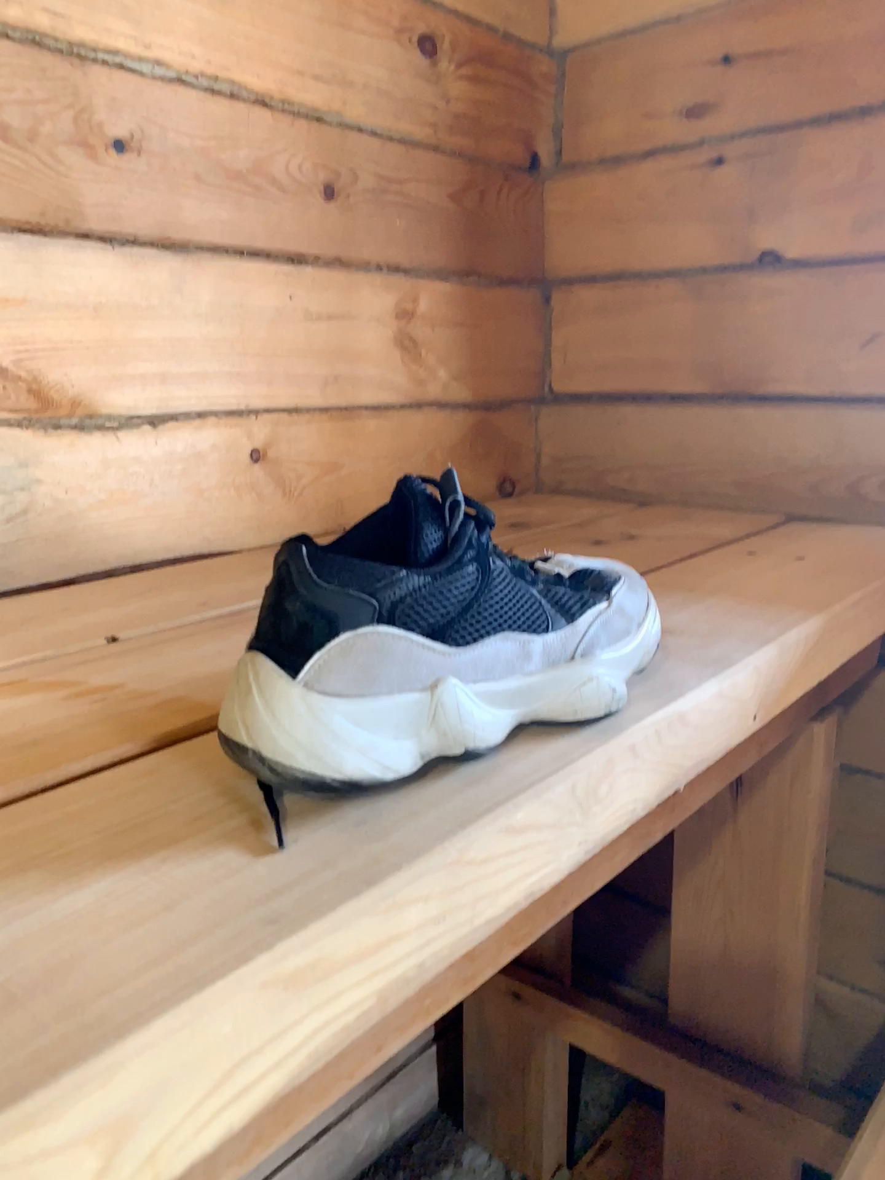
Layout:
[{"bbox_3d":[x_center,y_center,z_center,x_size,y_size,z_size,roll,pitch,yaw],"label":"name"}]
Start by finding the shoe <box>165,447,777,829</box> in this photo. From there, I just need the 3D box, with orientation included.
[{"bbox_3d":[0.027,-0.002,0.428,0.271,0.109,0.120,-11,16,-39],"label":"shoe"}]
